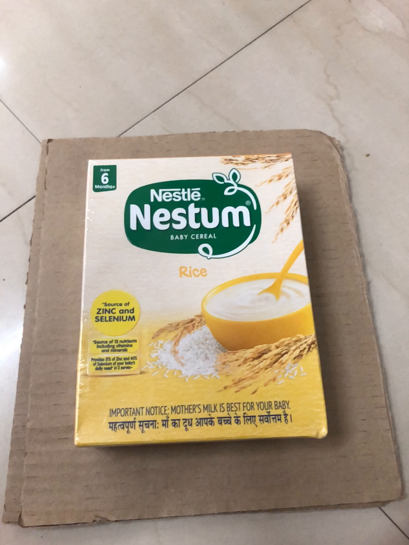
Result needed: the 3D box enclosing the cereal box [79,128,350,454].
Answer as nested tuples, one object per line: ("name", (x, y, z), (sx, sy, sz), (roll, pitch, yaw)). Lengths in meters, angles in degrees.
("cereal box", (0.001, 0.008, 0.315), (0.150, 0.060, 0.210), (-2, 70, -2))
